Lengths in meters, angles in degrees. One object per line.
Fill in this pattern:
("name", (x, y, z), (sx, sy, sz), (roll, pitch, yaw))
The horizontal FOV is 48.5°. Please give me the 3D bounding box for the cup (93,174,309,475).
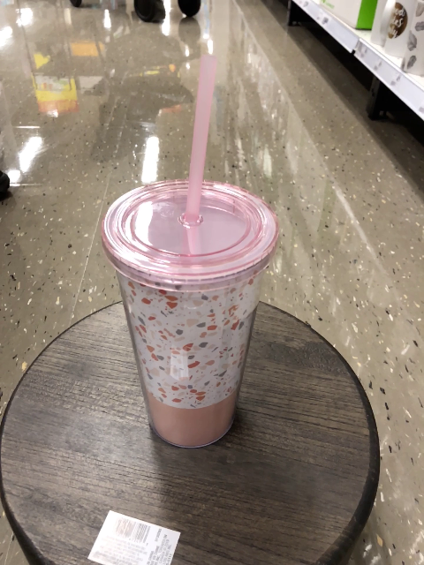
("cup", (-0.013, 0.027, 0.291), (0.090, 0.149, 0.090), (1, 39, -1))
